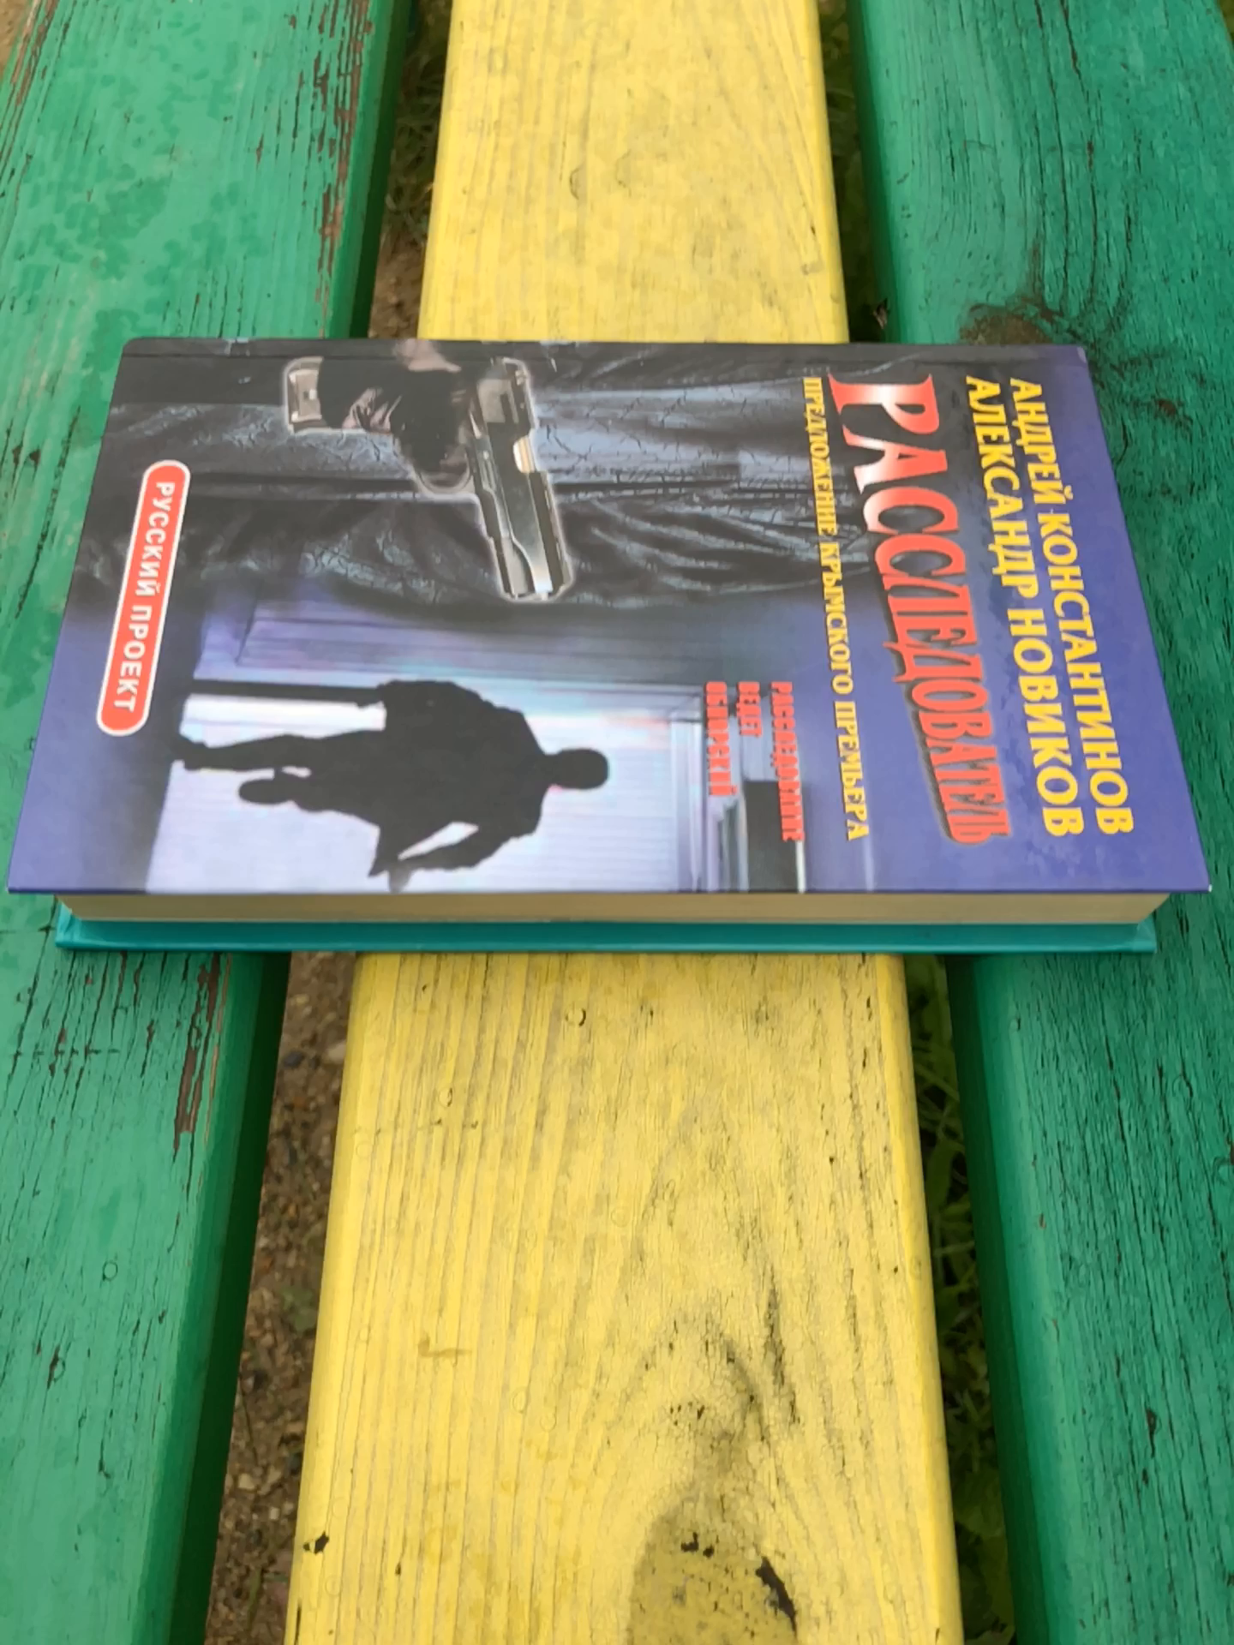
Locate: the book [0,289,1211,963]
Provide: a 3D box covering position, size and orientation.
[{"bbox_3d":[-0.002,-0.043,0.273,0.201,0.031,0.139,1,62,-1],"label":"book"}]
